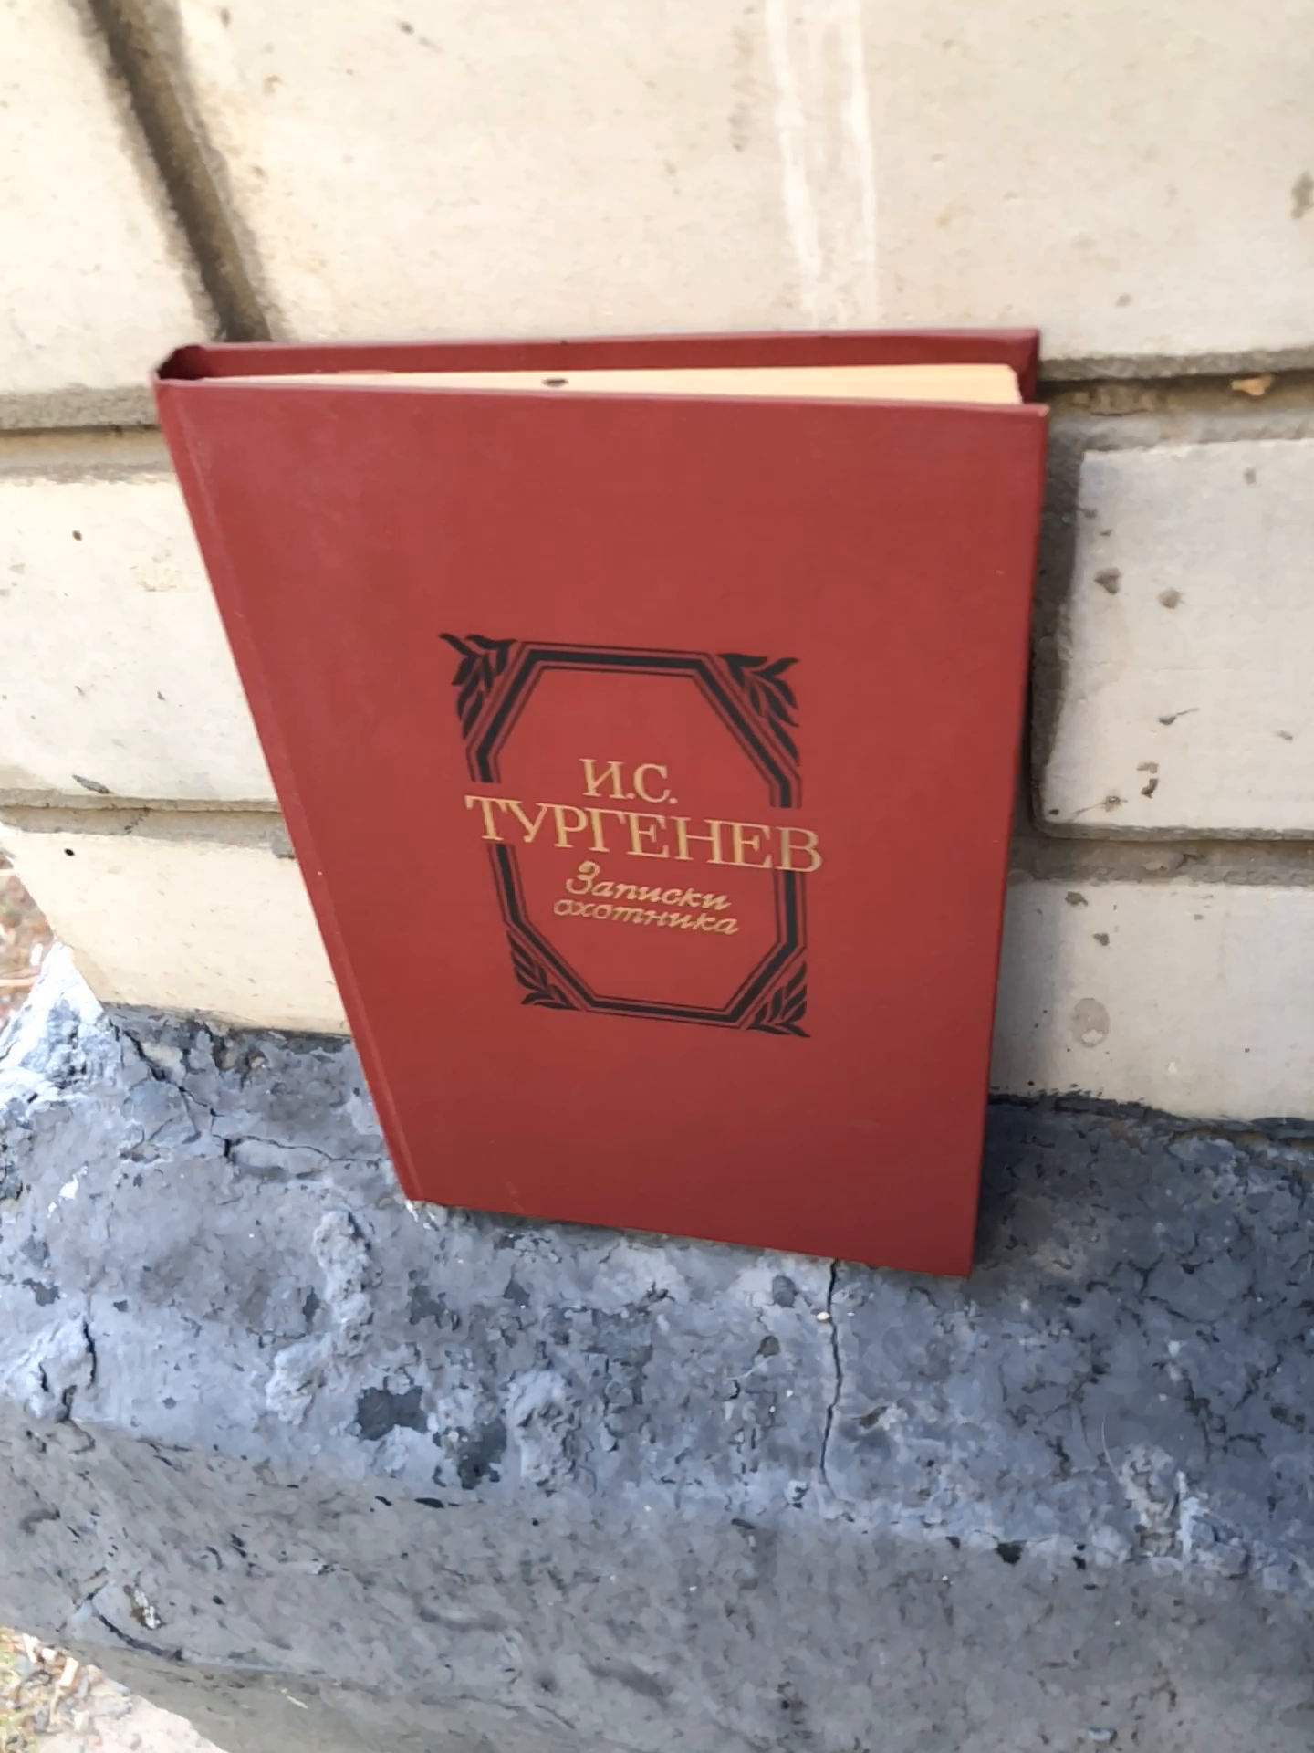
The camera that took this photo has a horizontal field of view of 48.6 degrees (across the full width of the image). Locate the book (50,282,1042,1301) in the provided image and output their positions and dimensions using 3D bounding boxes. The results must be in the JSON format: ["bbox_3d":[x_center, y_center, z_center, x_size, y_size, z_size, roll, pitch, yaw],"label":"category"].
[{"bbox_3d":[-0.007,-0.002,0.278,0.147,0.205,0.026,5,41,17],"label":"book"}]
